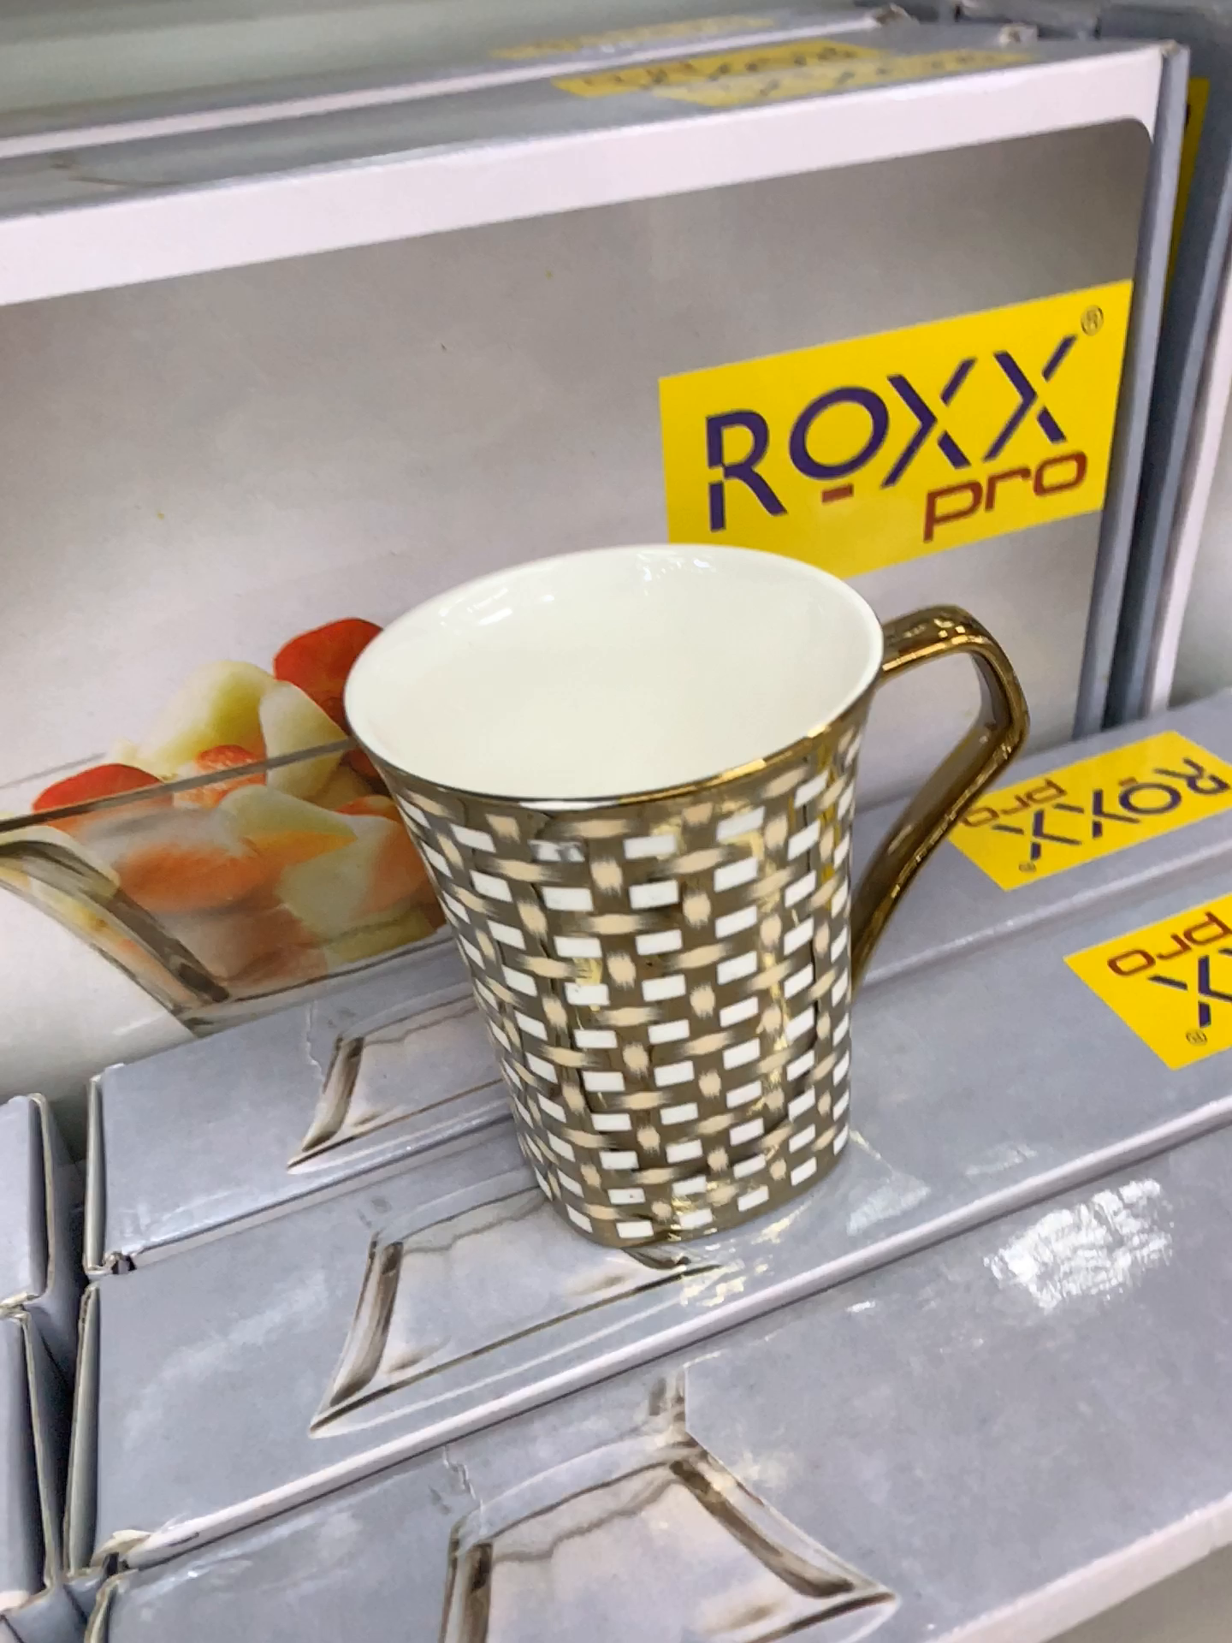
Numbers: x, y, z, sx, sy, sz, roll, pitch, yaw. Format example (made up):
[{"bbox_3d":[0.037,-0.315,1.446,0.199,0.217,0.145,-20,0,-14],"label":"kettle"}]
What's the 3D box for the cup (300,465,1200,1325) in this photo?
[{"bbox_3d":[0.017,0.006,0.222,0.112,0.092,0.083,-15,36,-14],"label":"cup"}]
